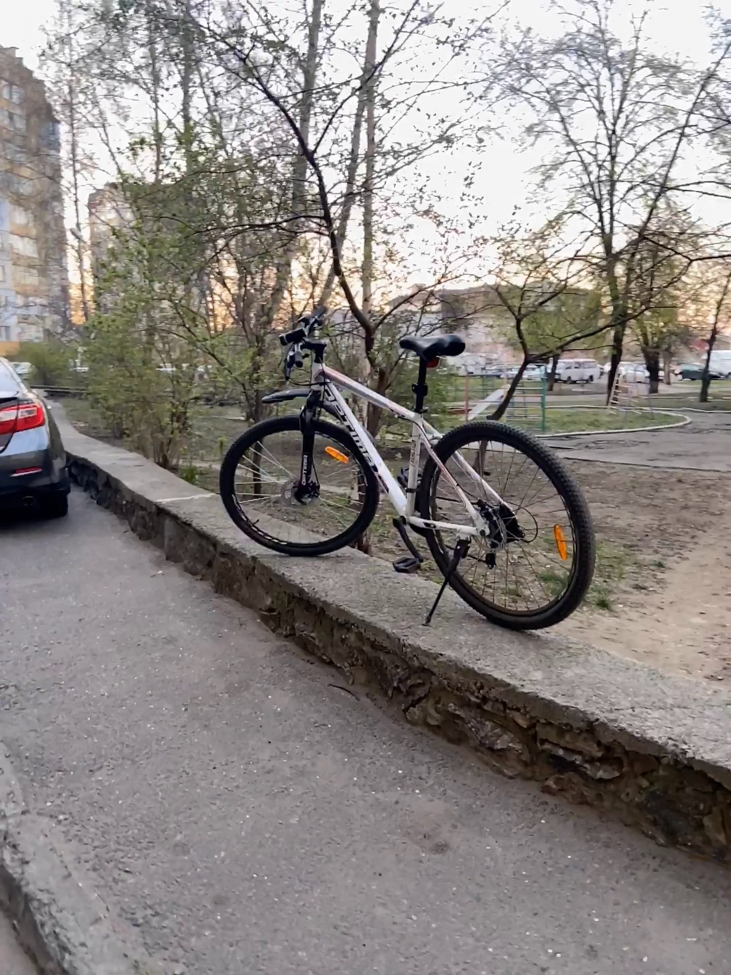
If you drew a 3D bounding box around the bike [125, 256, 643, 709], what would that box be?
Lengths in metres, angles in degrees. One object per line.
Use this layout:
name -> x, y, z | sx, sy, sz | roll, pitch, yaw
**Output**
bike -> -0.051, -0.068, 2.683 | 1.749, 1.148, 0.680 | 5, 10, 42
